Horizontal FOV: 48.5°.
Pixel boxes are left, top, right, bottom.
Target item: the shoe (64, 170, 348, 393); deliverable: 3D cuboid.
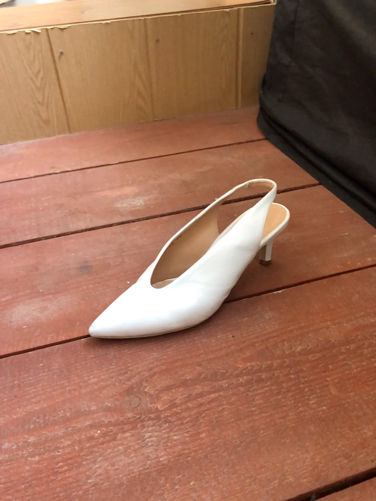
[{"bbox_3d":[0.025,0.013,0.394,0.240,0.080,0.100,-25,41,-25],"label":"shoe"}]
